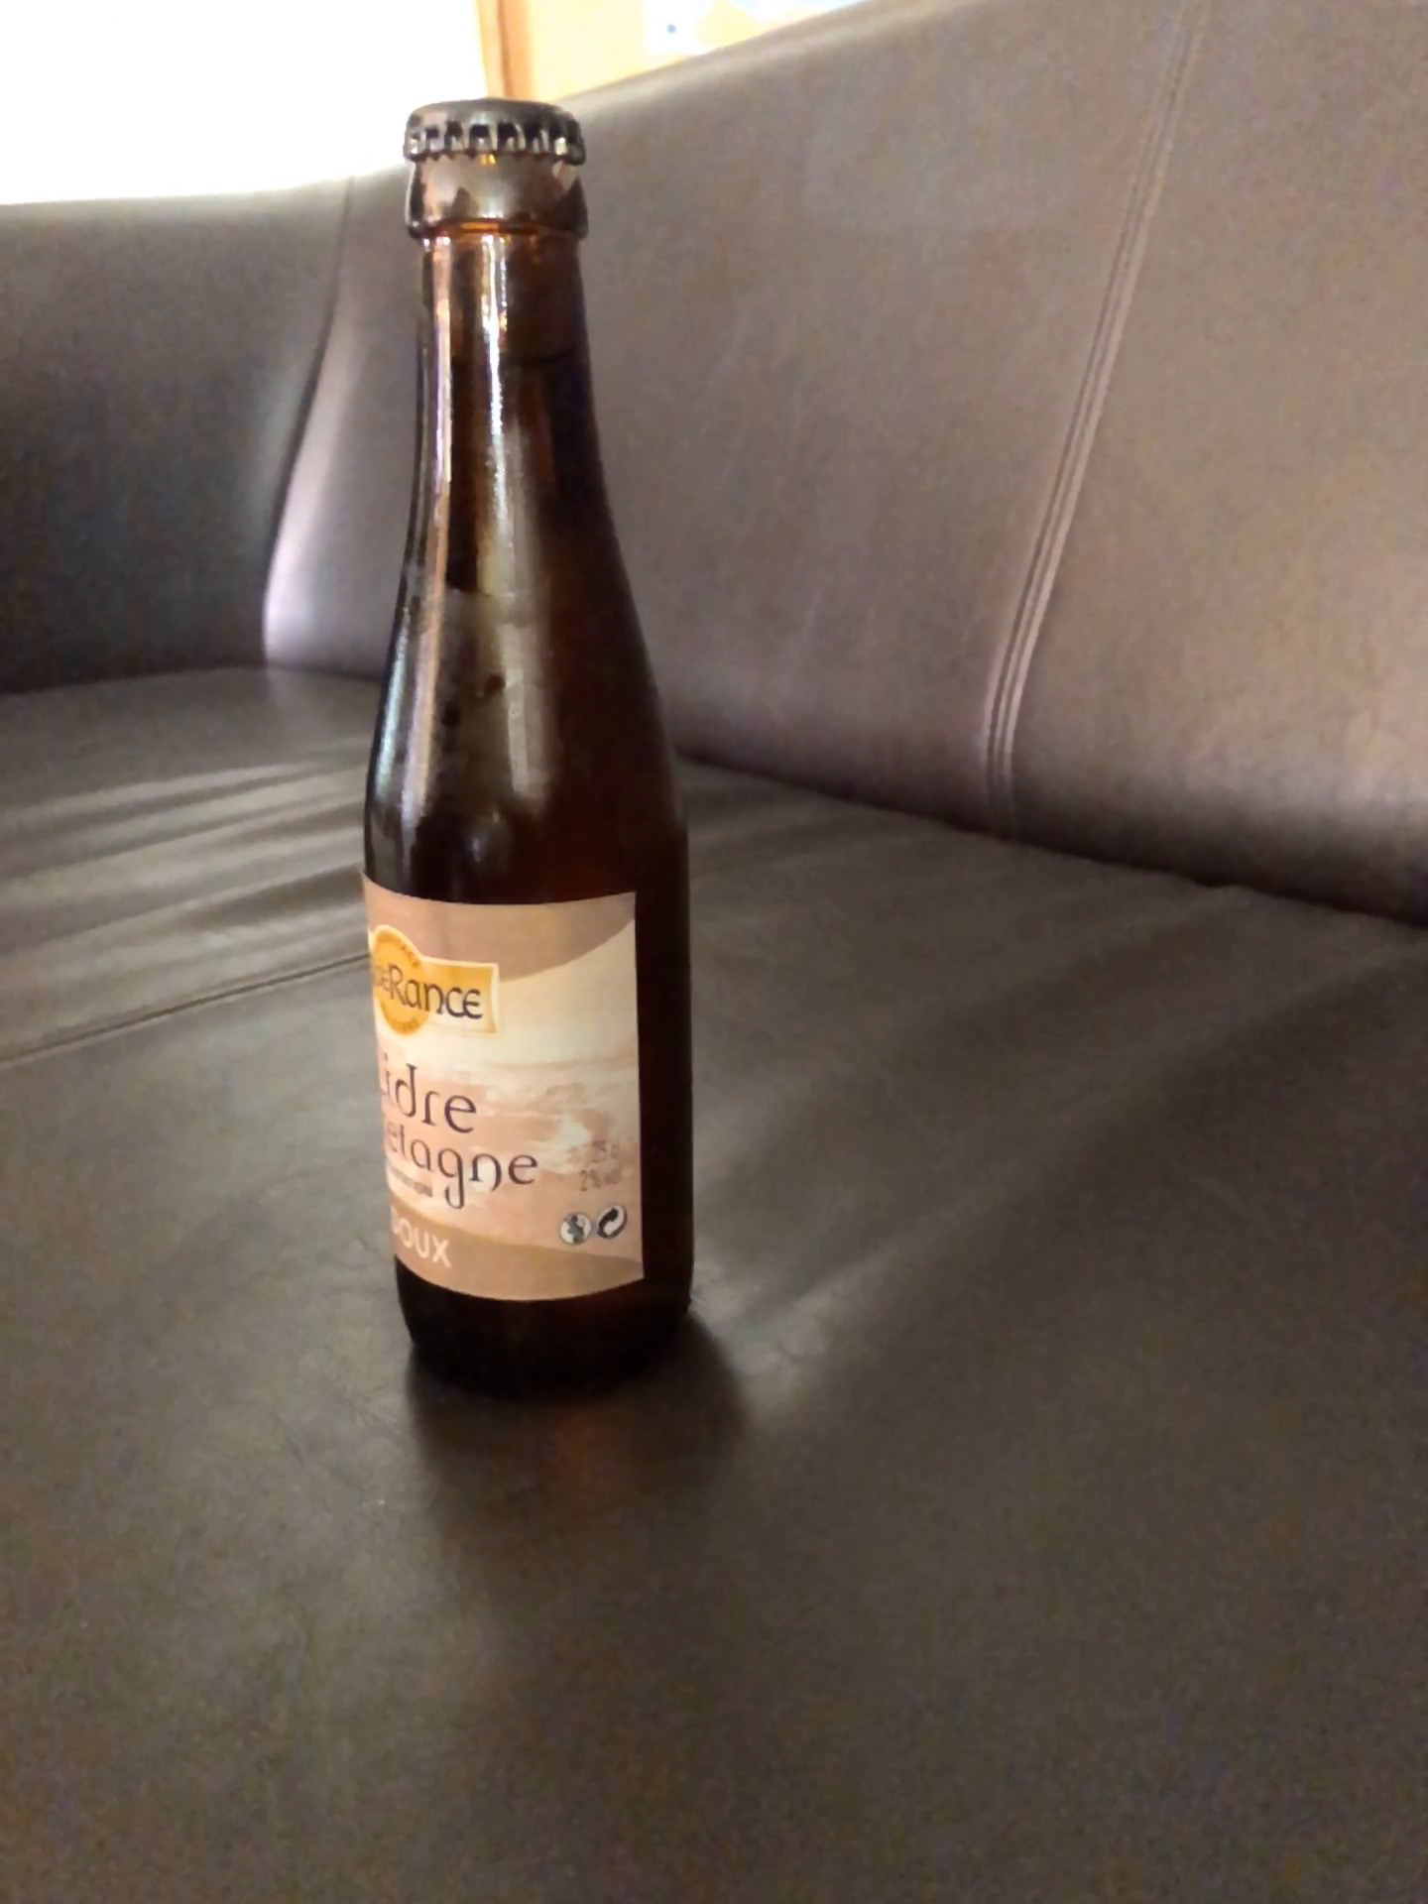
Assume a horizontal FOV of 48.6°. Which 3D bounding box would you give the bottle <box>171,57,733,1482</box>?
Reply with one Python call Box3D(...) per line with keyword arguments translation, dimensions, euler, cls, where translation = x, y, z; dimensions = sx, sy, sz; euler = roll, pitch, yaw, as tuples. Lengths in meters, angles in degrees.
Box3D(translation=(-0.041, -0.026, 0.270), dimensions=(0.060, 0.209, 0.060), euler=(-1, 17, 0), cls="bottle")
